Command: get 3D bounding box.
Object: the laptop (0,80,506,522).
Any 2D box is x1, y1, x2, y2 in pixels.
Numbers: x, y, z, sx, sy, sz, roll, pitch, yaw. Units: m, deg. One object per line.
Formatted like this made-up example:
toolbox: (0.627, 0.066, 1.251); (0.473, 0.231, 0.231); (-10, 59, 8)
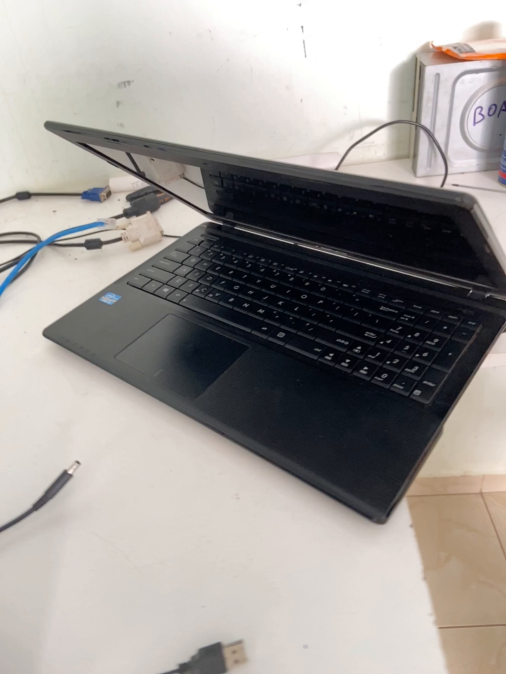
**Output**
laptop: (-0.003, -0.081, 0.443); (0.376, 0.166, 0.247); (22, 49, 34)
